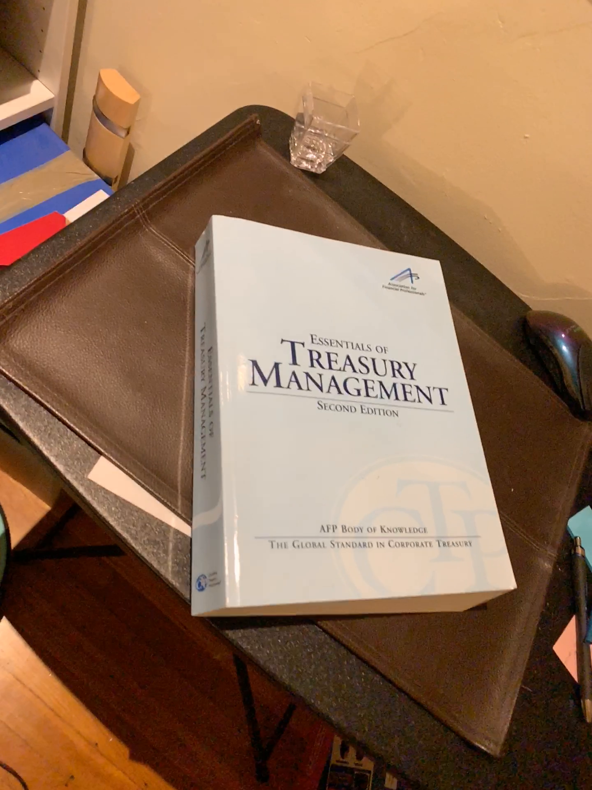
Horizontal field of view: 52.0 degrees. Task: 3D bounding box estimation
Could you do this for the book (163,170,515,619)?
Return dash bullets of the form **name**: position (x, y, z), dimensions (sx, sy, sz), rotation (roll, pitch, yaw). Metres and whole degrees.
- **book**: position (0.022, -0.002, 0.445), dimensions (0.220, 0.060, 0.301), rotation (7, 63, -23)
